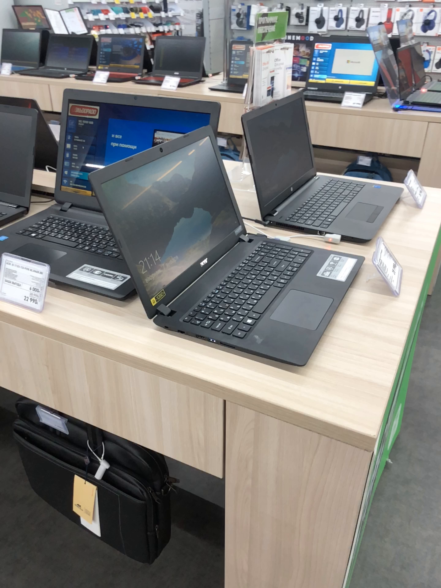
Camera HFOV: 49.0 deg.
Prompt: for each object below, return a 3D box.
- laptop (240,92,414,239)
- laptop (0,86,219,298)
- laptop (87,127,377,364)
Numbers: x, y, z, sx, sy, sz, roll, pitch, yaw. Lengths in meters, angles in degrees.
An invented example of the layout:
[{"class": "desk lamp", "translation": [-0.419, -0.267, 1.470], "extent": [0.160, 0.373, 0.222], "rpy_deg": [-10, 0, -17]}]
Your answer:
[{"class": "laptop", "translation": [0.270, -0.337, 1.198], "extent": [0.294, 0.220, 0.360], "rpy_deg": [16, 35, 22]}, {"class": "laptop", "translation": [-0.273, -0.248, 1.011], "extent": [0.401, 0.250, 0.397], "rpy_deg": [15, 36, 22]}, {"class": "laptop", "translation": [0.042, -0.123, 0.846], "extent": [0.347, 0.219, 0.376], "rpy_deg": [15, 34, 22]}]
